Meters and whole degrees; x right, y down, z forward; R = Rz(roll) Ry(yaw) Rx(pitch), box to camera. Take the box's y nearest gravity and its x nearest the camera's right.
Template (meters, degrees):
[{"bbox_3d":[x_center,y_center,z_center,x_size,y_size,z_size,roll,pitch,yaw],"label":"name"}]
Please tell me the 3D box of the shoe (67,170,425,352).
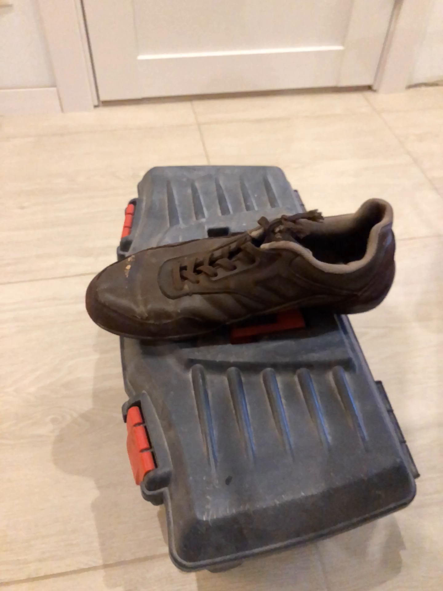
[{"bbox_3d":[0.016,-0.034,0.452,0.280,0.099,0.111,-5,49,-6],"label":"shoe"}]
